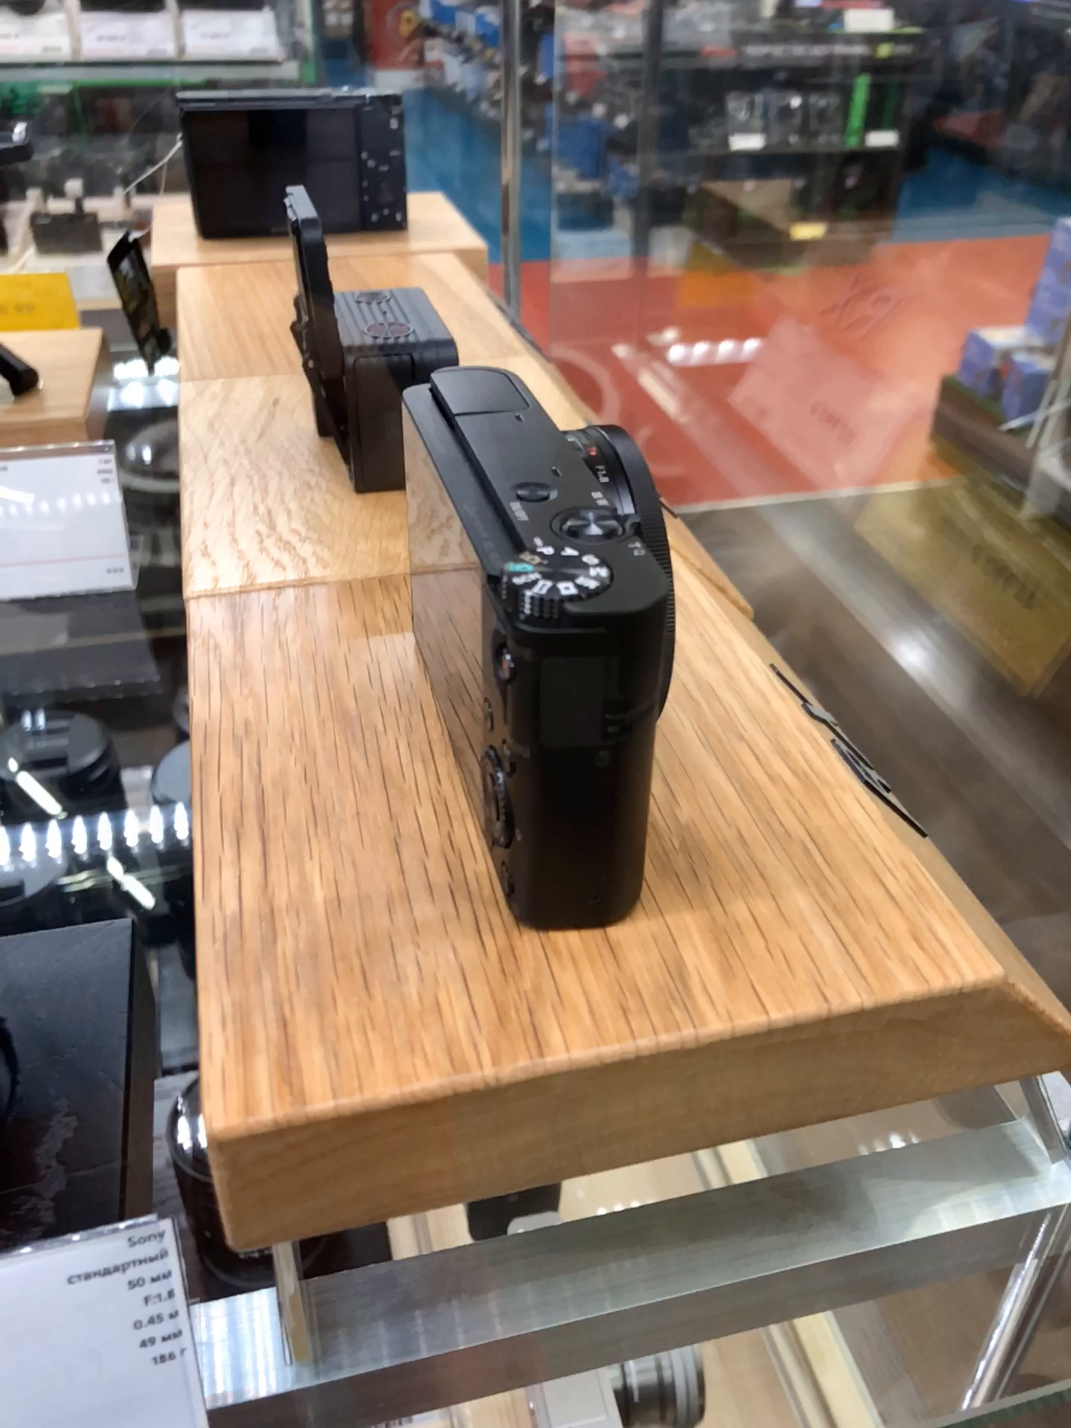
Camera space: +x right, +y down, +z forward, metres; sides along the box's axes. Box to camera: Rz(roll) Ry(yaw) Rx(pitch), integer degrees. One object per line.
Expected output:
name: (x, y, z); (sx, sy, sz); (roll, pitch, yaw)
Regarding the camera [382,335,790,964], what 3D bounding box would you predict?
camera: (0.001, -0.019, 0.212); (0.037, 0.062, 0.106); (-8, 35, -13)
